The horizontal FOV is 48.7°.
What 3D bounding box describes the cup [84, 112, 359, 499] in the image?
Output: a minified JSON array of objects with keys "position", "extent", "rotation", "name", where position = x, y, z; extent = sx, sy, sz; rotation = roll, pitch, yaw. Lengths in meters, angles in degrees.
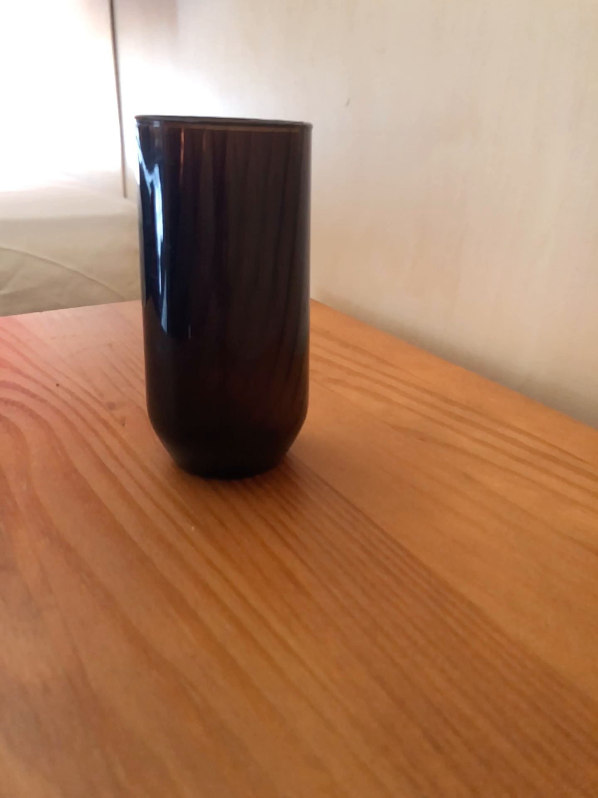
[{"position":[-0.025,-0.037,0.230],"extent":[0.060,0.112,0.062],"rotation":[2,24,-1],"name":"cup"}]
